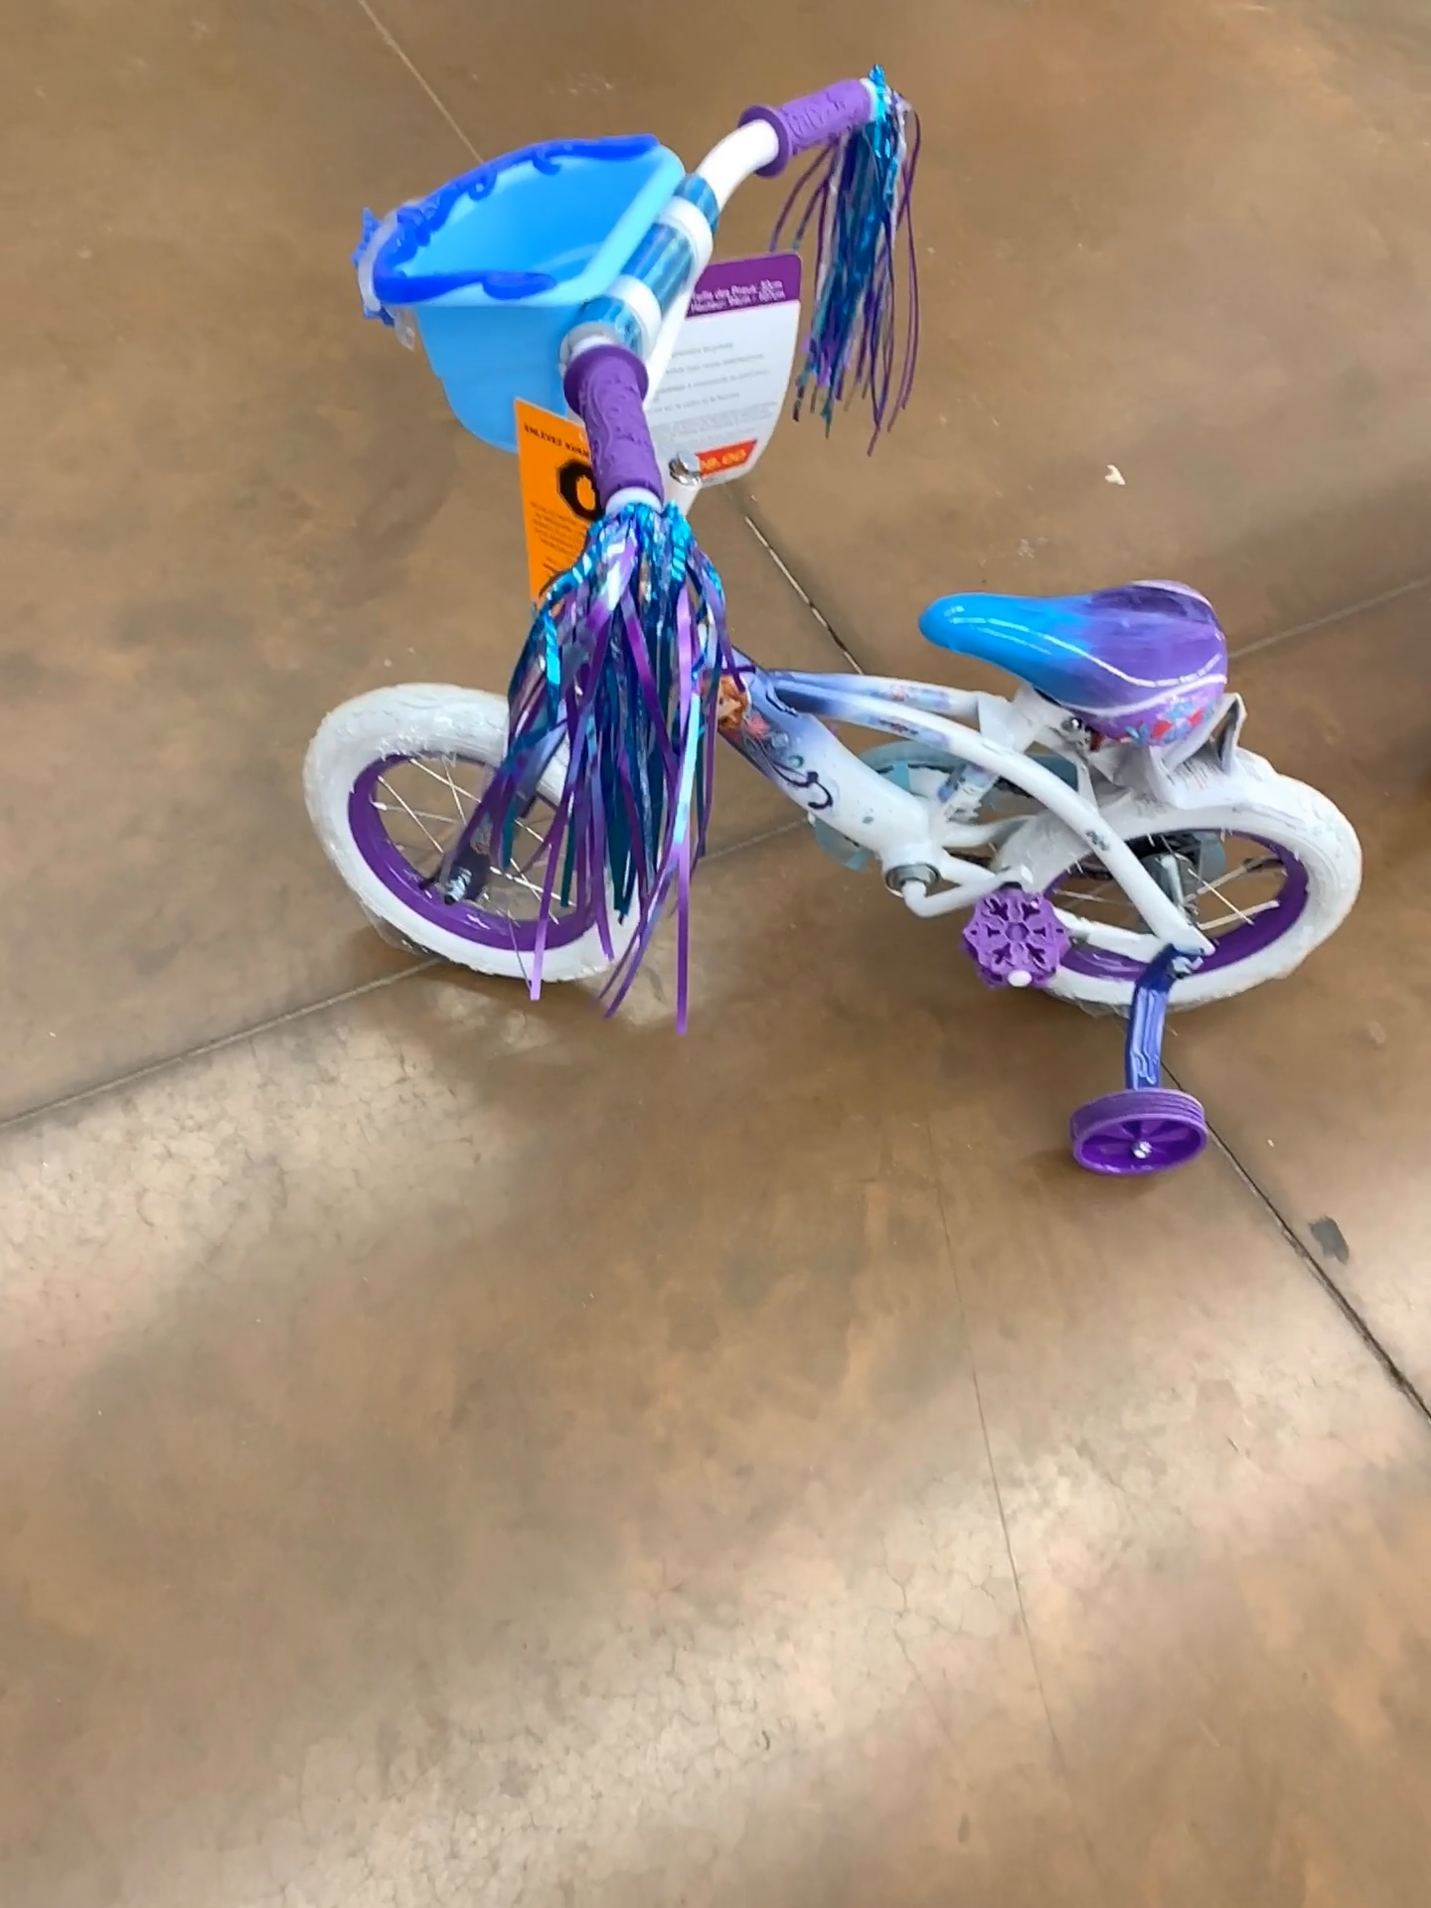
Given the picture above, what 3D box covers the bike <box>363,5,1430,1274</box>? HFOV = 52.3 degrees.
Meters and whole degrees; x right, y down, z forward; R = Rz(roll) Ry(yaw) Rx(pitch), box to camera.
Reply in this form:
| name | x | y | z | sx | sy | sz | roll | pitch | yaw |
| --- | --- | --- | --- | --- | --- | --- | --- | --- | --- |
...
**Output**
| name | x | y | z | sx | sy | sz | roll | pitch | yaw |
| --- | --- | --- | --- | --- | --- | --- | --- | --- | --- |
| bike | 0.183 | -0.141 | 0.965 | 0.651 | 0.644 | 0.474 | 2 | 57 | -6 |
